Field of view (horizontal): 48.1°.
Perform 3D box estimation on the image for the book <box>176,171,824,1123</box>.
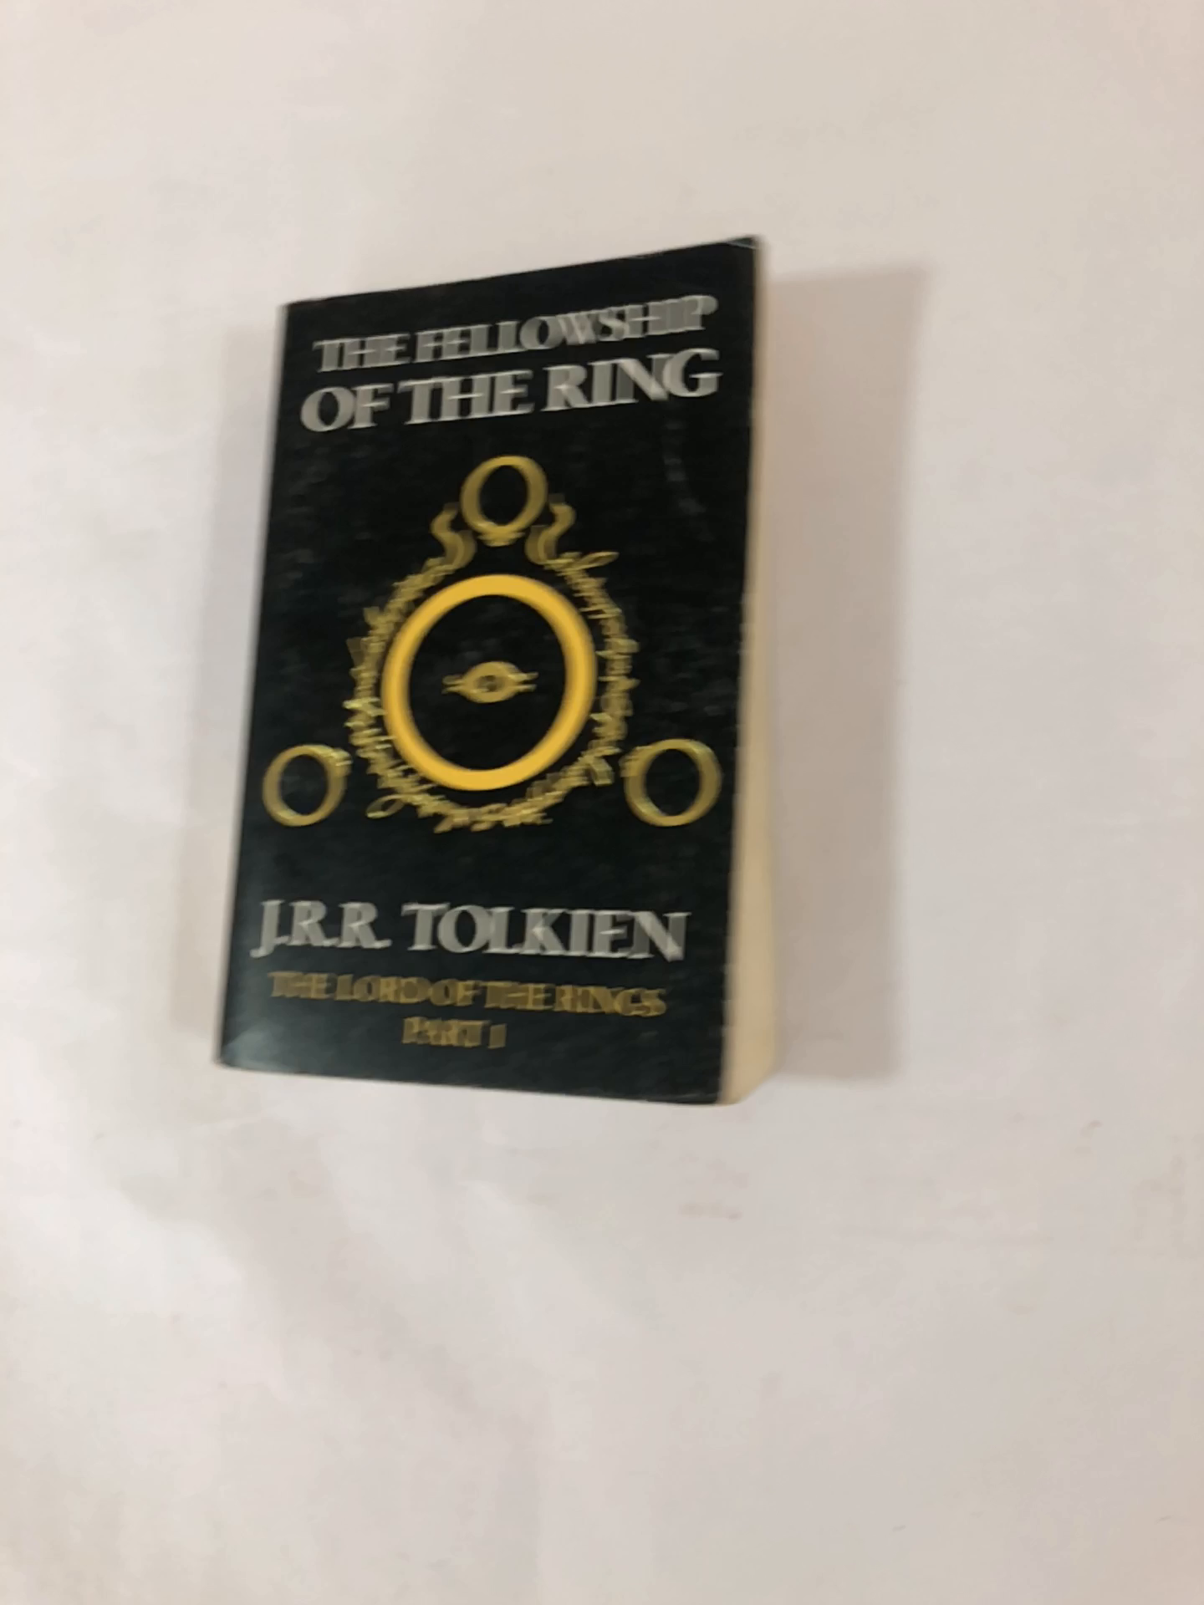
[{"bbox_3d":[-0.021,-0.033,0.322,0.130,0.050,0.200,0,80,23],"label":"book"}]
